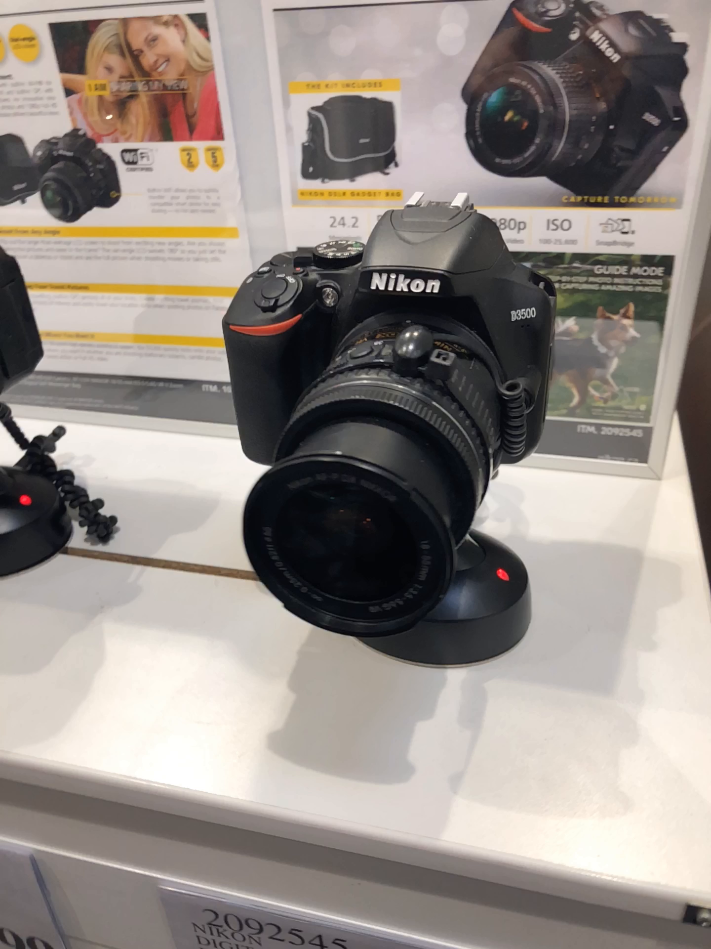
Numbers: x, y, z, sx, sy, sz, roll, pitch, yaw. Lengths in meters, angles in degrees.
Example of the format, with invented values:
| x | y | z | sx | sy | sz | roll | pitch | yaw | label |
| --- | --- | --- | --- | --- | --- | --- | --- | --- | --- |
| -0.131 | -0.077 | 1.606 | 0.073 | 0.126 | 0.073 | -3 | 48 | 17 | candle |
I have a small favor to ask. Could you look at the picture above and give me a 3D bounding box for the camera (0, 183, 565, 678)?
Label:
| x | y | z | sx | sy | sz | roll | pitch | yaw | label |
| --- | --- | --- | --- | --- | --- | --- | --- | --- | --- |
| -0.007 | -0.029 | 0.252 | 0.130 | 0.089 | 0.141 | 6 | 33 | 14 | camera |
